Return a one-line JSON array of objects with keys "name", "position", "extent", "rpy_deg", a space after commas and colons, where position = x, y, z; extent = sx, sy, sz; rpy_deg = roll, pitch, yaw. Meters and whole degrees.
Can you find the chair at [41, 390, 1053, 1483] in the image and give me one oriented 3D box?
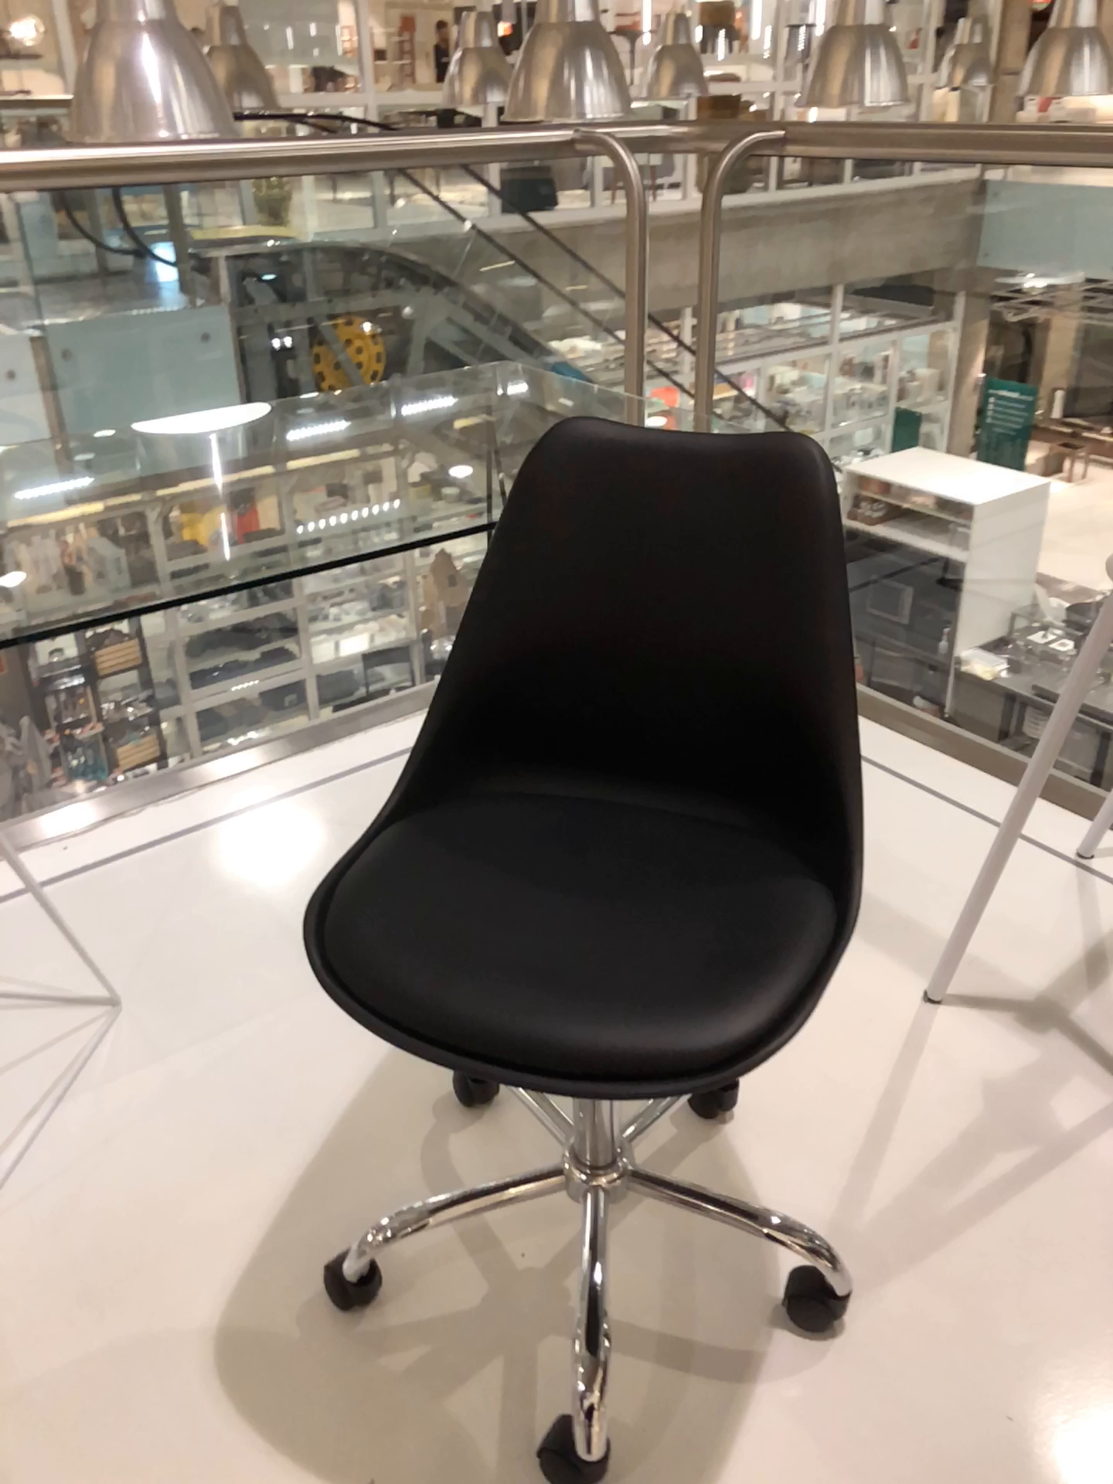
[{"name": "chair", "position": [0.069, 0.166, 1.164], "extent": [0.630, 0.824, 0.634], "rpy_deg": [8, 29, 18]}]
